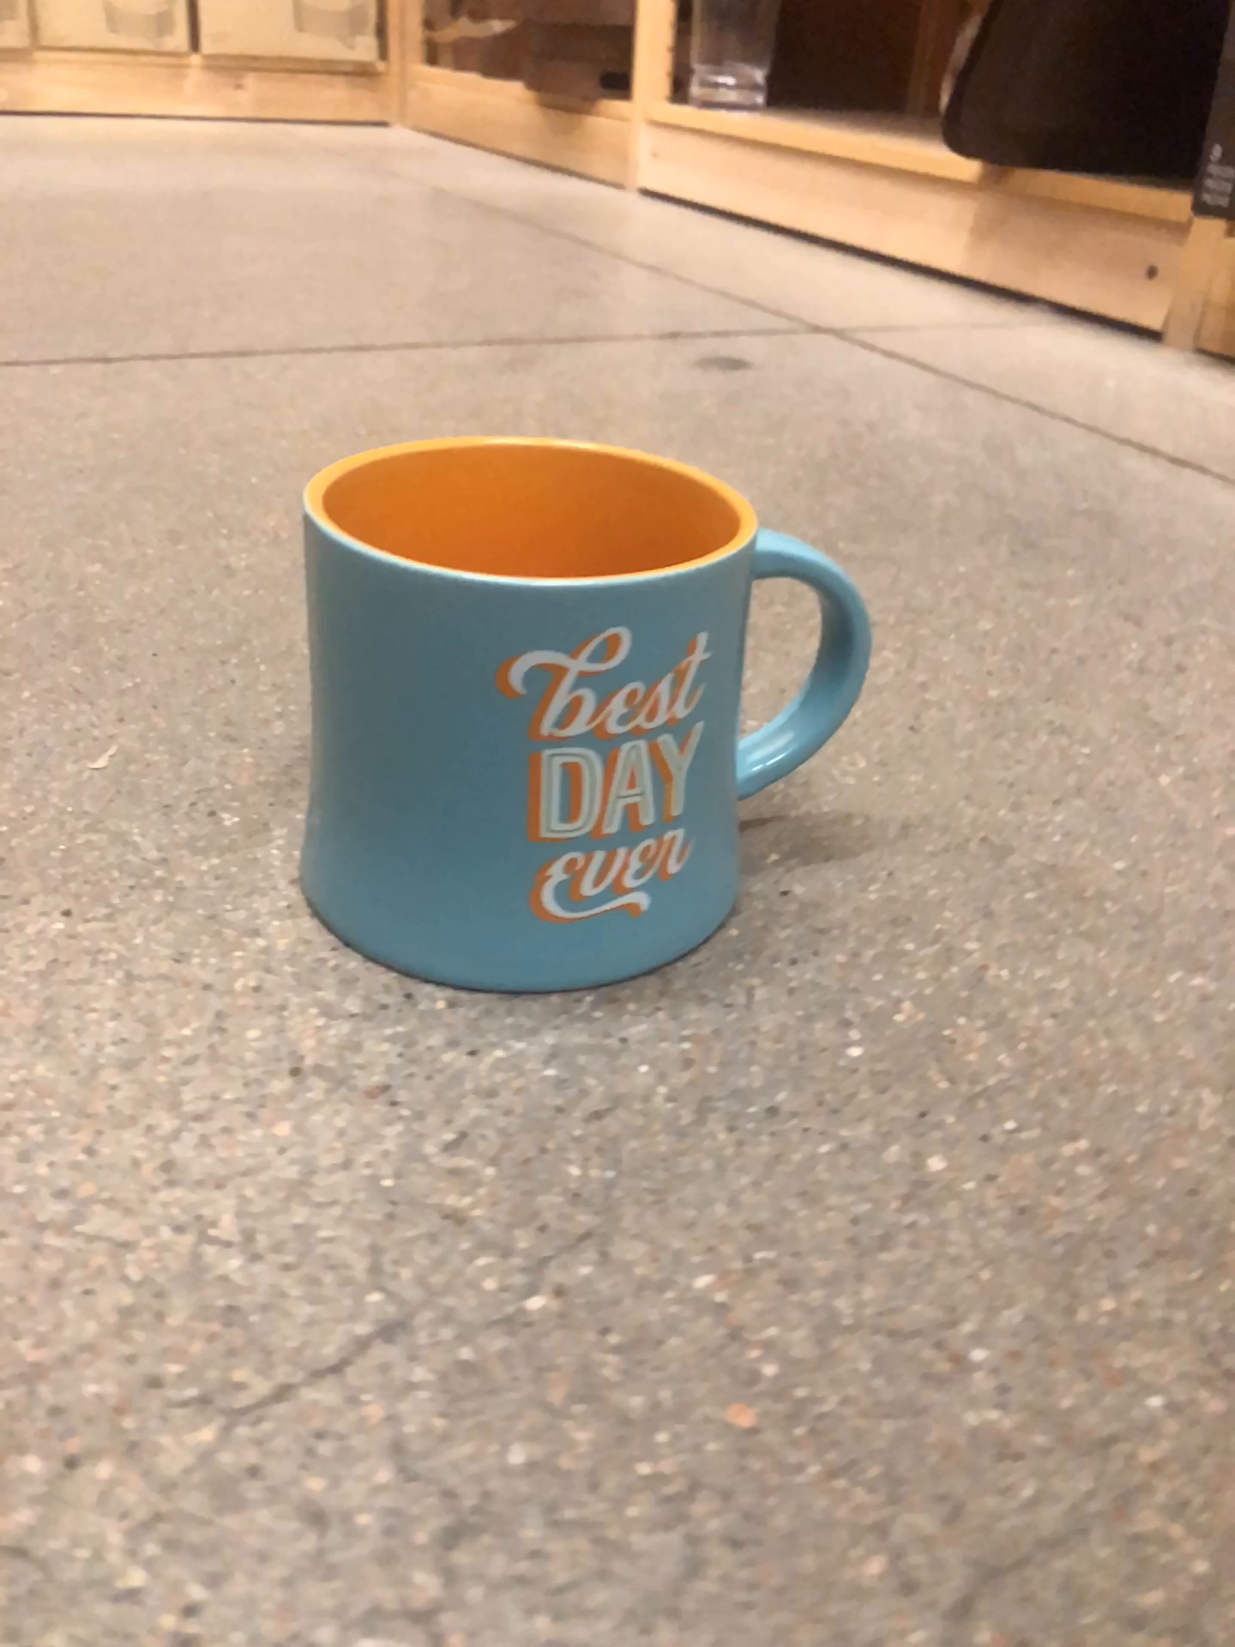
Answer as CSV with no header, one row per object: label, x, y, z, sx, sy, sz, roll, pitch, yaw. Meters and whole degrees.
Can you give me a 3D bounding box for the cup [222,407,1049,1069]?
cup,-0.006,-0.029,0.305,0.143,0.097,0.108,-7,32,-18
